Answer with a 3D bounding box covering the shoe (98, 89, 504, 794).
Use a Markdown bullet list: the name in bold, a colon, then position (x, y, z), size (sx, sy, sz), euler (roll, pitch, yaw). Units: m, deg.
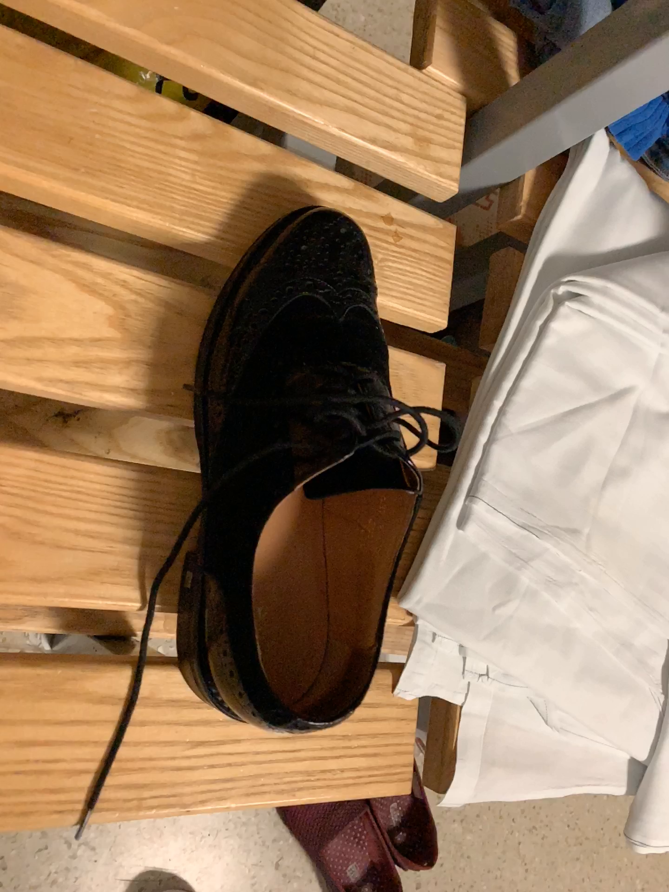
- **shoe**: position (-0.012, 0.001, 0.300), size (0.100, 0.095, 0.250), euler (17, 76, -28)
